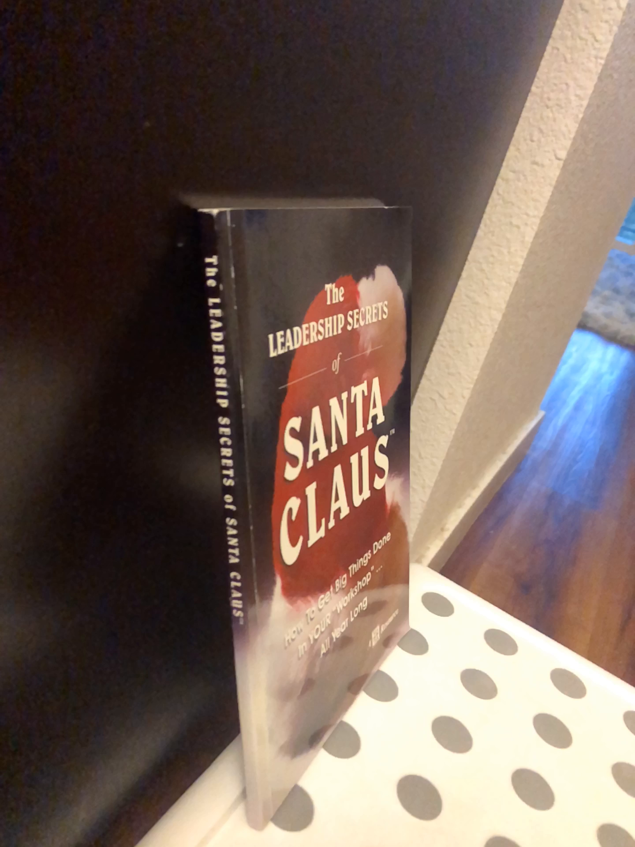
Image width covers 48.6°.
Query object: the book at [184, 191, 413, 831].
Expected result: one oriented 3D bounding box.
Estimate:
[{"bbox_3d":[0.008,0.021,0.301,0.010,0.225,0.161,5,17,27],"label":"book"}]
